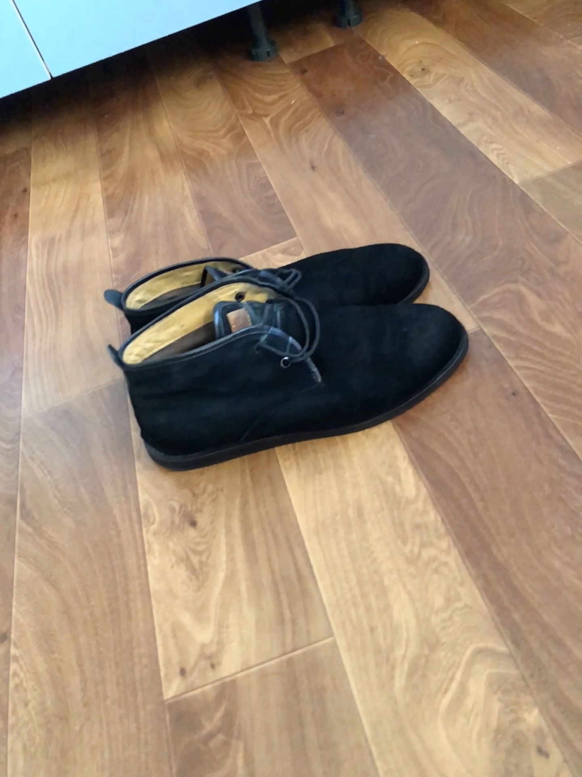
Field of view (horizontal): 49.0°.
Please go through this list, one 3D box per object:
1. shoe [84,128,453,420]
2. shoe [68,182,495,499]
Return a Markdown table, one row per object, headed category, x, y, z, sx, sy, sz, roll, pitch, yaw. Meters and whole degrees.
| category | x | y | z | sx | sy | sz | roll | pitch | yaw |
| --- | --- | --- | --- | --- | --- | --- | --- | --- | --- |
| shoe | -0.017 | -0.102 | 0.574 | 0.290 | 0.129 | 0.111 | -21 | 47 | -1 |
| shoe | -0.003 | -0.034 | 0.499 | 0.290 | 0.129 | 0.111 | -17 | 47 | 2 |
